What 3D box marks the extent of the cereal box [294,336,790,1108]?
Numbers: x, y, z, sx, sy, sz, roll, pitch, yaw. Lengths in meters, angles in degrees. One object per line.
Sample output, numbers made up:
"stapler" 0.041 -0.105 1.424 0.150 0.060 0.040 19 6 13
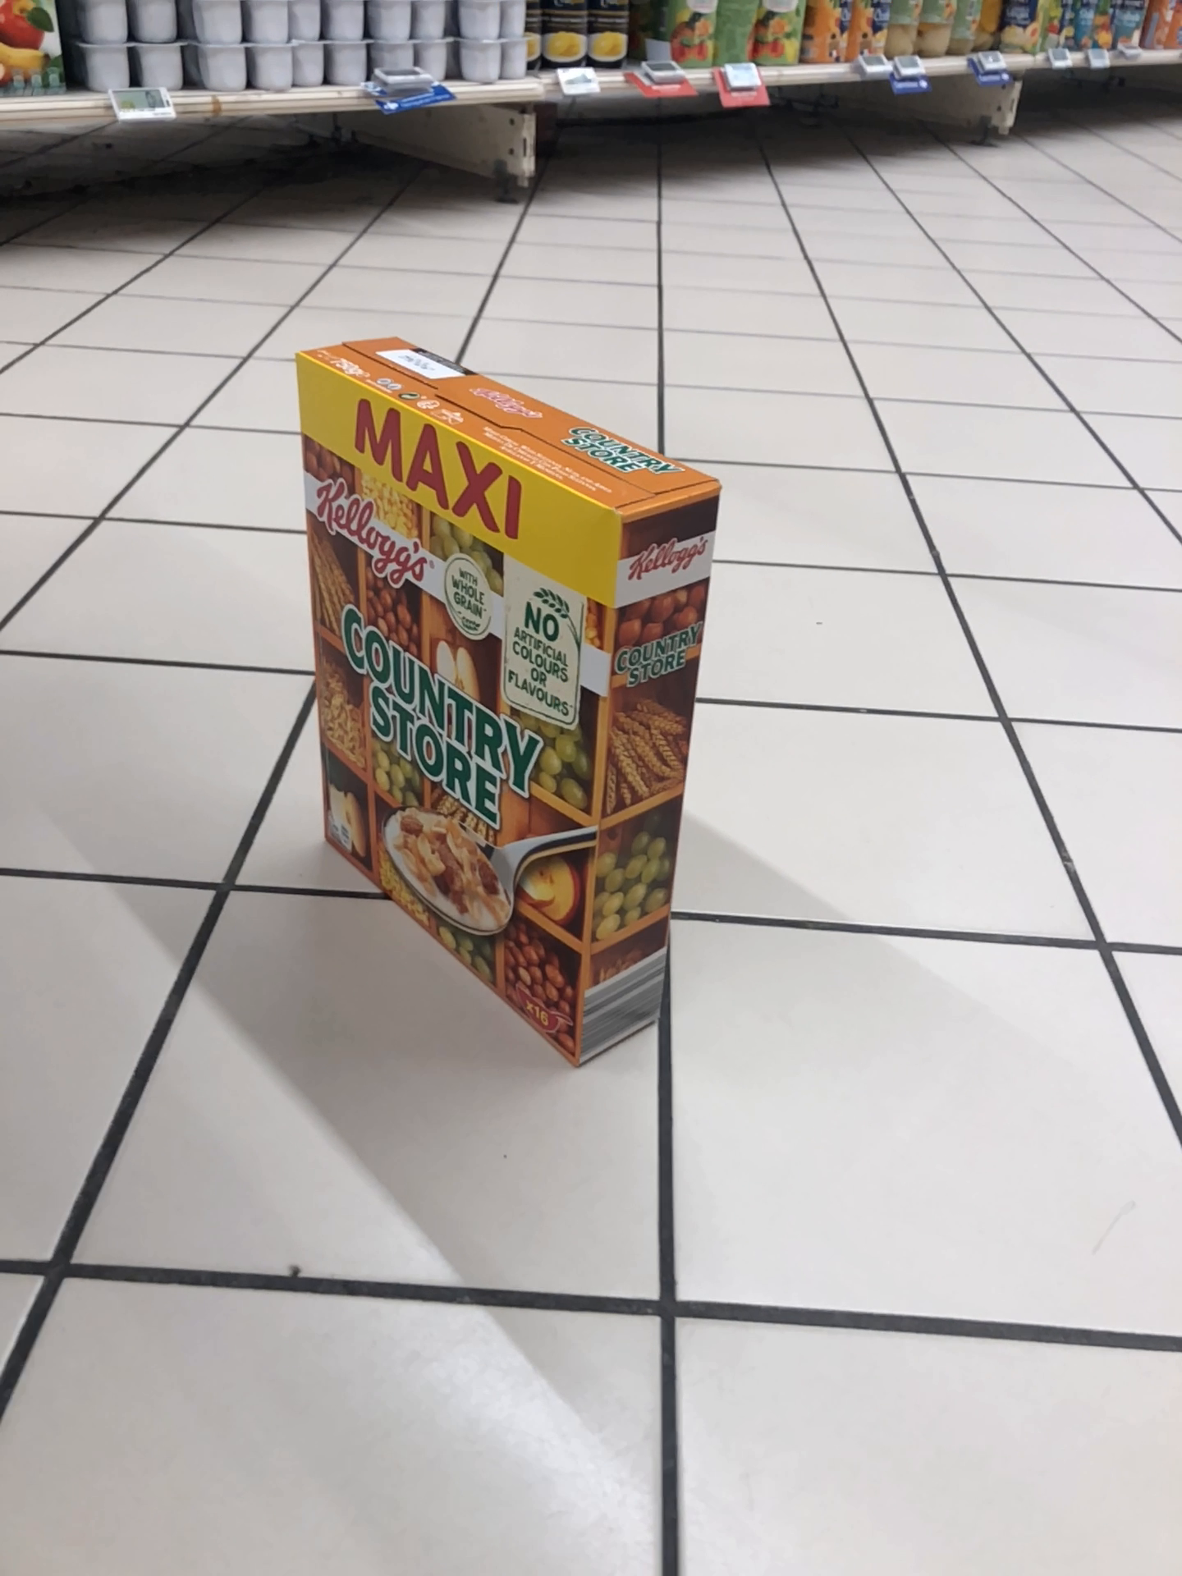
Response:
"cereal box" -0.032 -0.030 0.518 0.060 0.239 0.200 -23 42 -35
